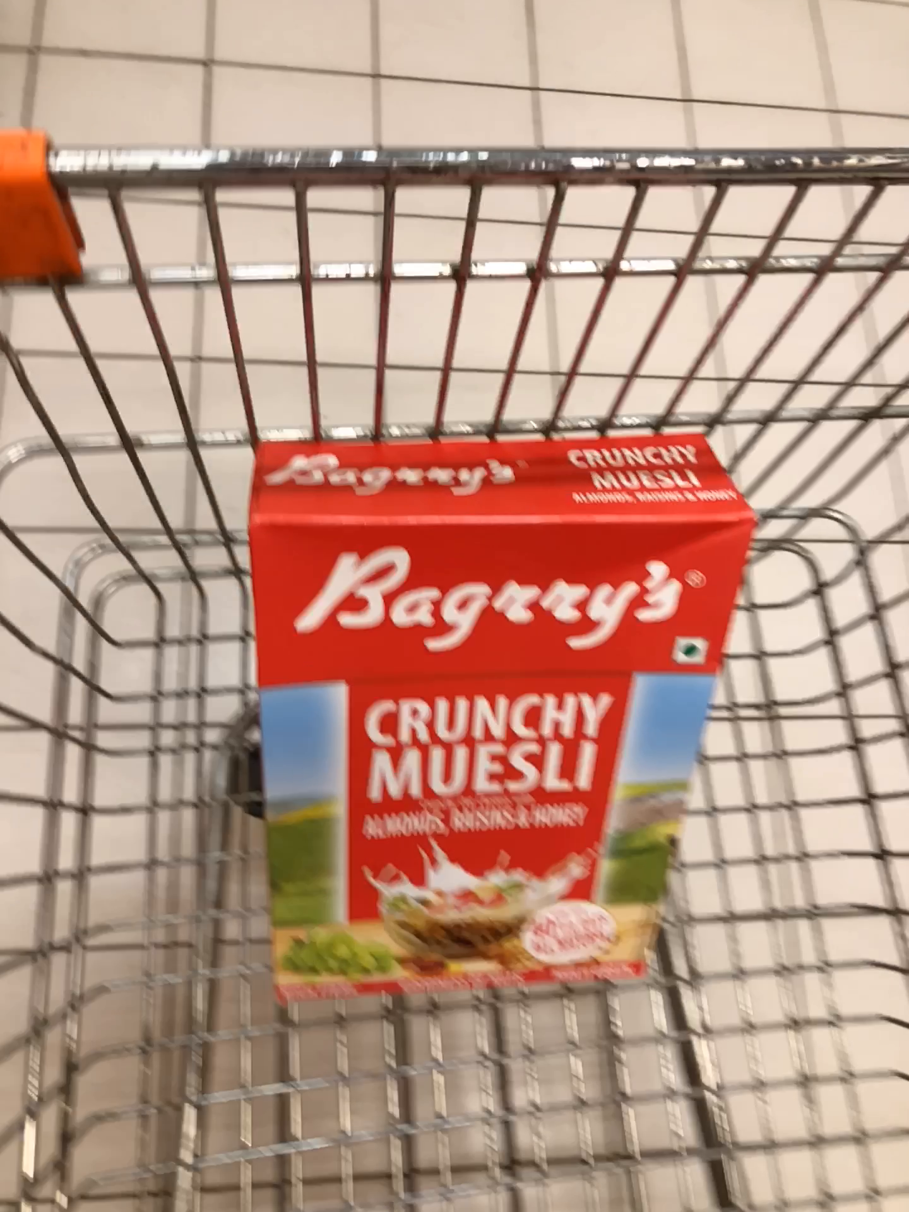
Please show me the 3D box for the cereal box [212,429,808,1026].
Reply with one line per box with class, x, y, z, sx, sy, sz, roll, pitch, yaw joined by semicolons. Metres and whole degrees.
cereal box;0.008;0.065;0.424;0.190;0.279;0.060;-1;38;-8
